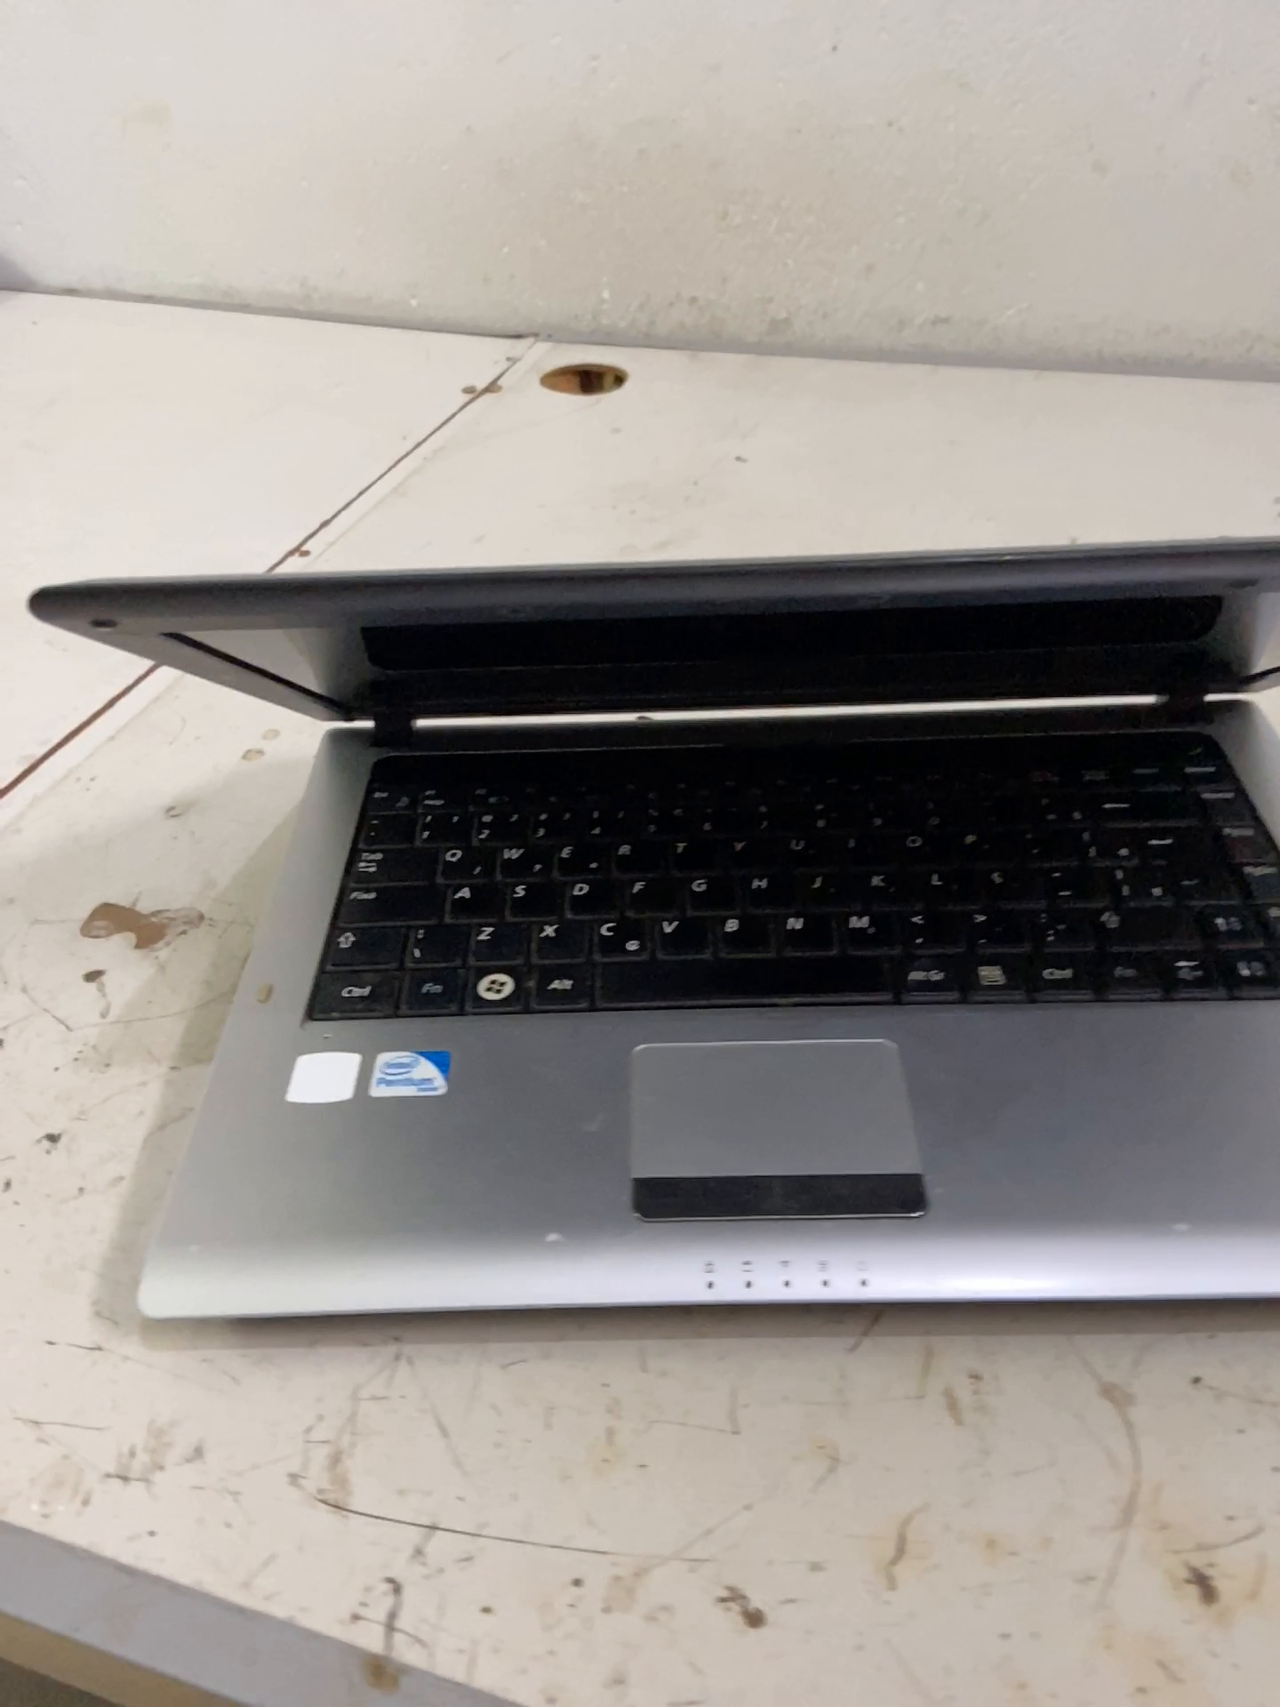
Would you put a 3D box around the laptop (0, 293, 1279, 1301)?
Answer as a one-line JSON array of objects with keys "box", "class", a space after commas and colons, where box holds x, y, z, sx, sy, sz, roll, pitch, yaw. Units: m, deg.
[{"box": [0.050, -0.033, 0.355, 0.333, 0.152, 0.242, -1, 38, 1], "class": "laptop"}]
